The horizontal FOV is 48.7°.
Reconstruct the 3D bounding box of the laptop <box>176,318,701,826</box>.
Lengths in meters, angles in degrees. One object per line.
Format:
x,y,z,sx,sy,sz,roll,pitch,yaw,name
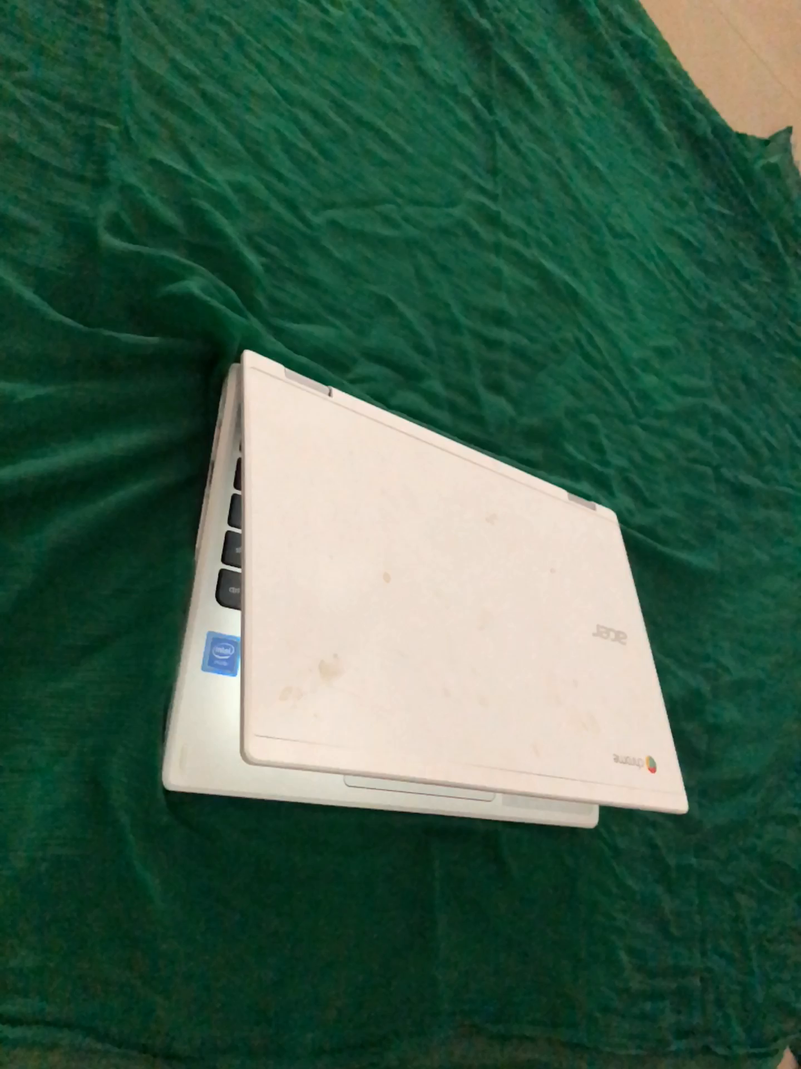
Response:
0.046,0.039,0.457,0.282,0.065,0.193,19,68,-36,laptop
